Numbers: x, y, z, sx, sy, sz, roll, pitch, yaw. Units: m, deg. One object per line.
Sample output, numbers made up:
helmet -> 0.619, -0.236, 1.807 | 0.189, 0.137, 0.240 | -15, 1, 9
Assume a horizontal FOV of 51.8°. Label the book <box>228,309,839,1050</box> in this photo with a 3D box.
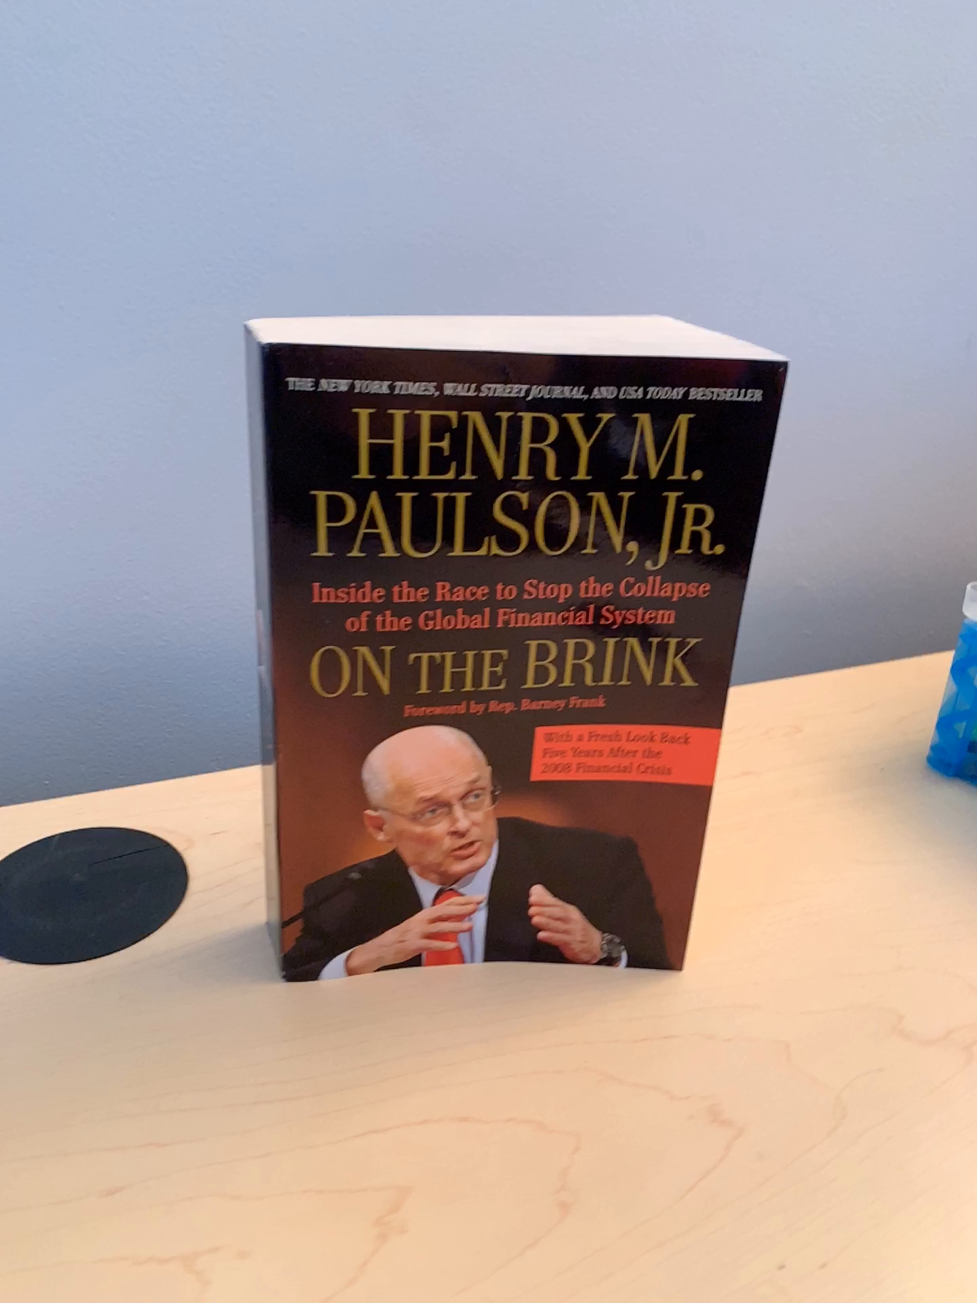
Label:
book -> 0.005, 0.006, 0.352 | 0.167, 0.228, 0.082 | -5, 26, -17
